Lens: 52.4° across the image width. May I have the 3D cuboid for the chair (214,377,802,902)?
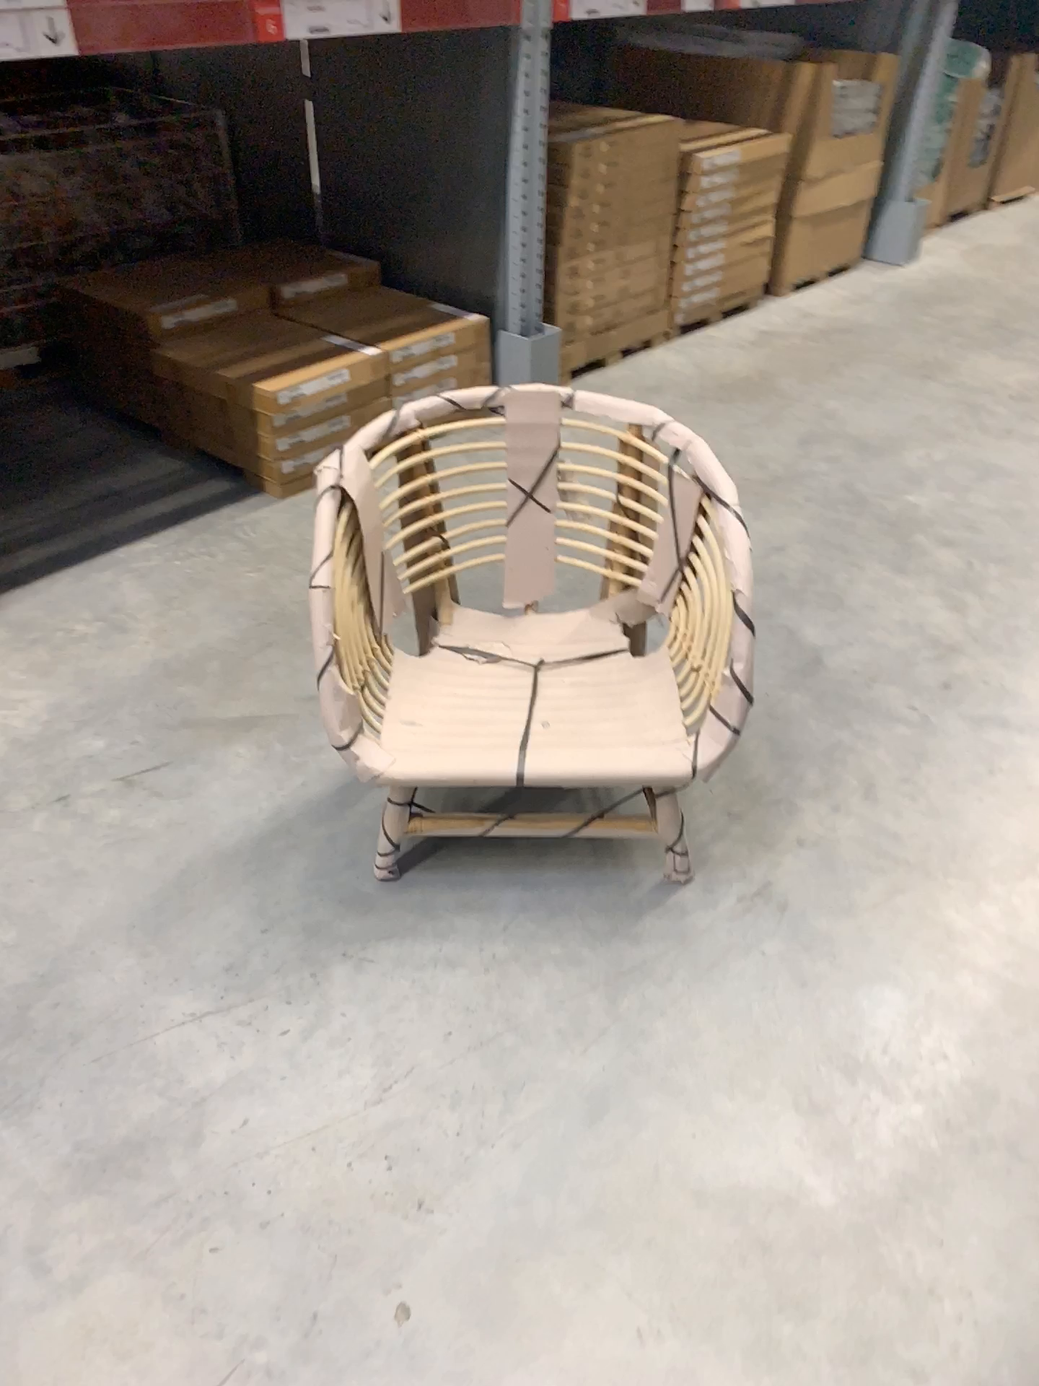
[{"bbox_3d":[-0.013,-0.129,1.821,0.750,0.568,0.763,1,36,0],"label":"chair"}]
